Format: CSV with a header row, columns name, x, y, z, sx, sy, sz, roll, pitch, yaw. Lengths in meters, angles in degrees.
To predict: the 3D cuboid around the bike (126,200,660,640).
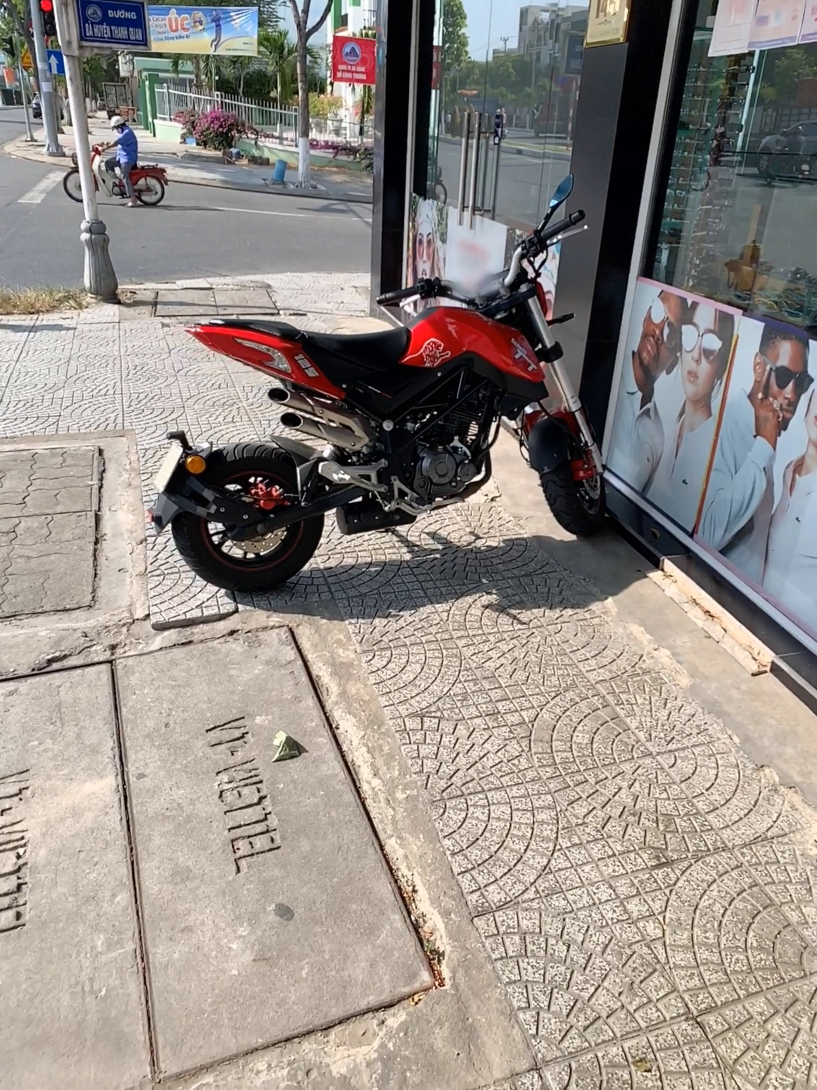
name,x,y,z,sx,sy,sz,roll,pitch,yaw
bike,0.015,-0.684,3.357,2.124,1.216,0.834,-16,32,-34
